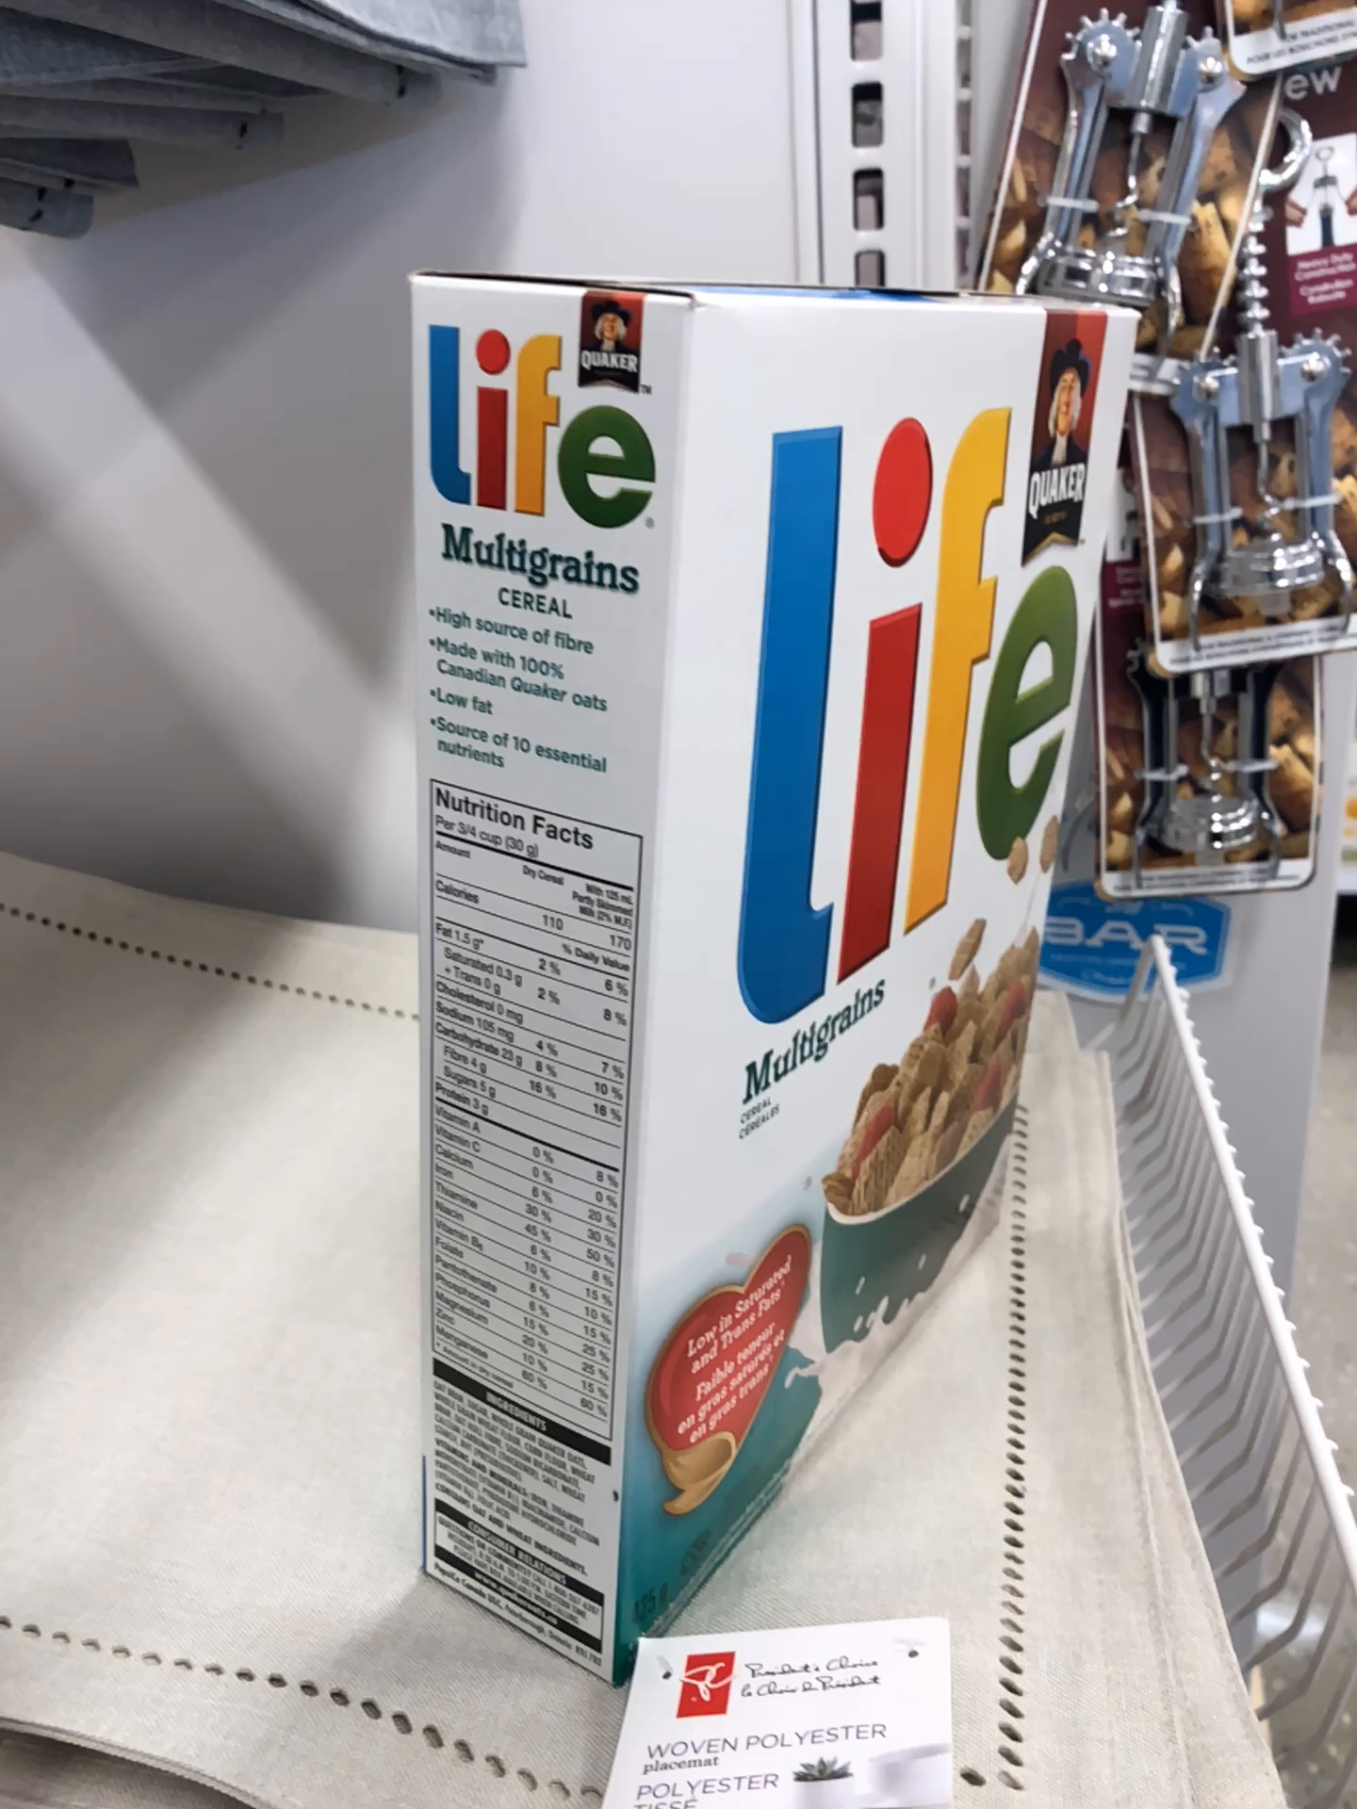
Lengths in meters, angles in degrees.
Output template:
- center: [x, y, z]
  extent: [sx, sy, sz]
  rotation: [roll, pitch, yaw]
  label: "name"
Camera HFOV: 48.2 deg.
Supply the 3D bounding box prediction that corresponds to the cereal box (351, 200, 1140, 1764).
- center: [0.026, 0.001, 0.347]
  extent: [0.060, 0.279, 0.210]
  rotation: [14, 24, 29]
  label: "cereal box"
